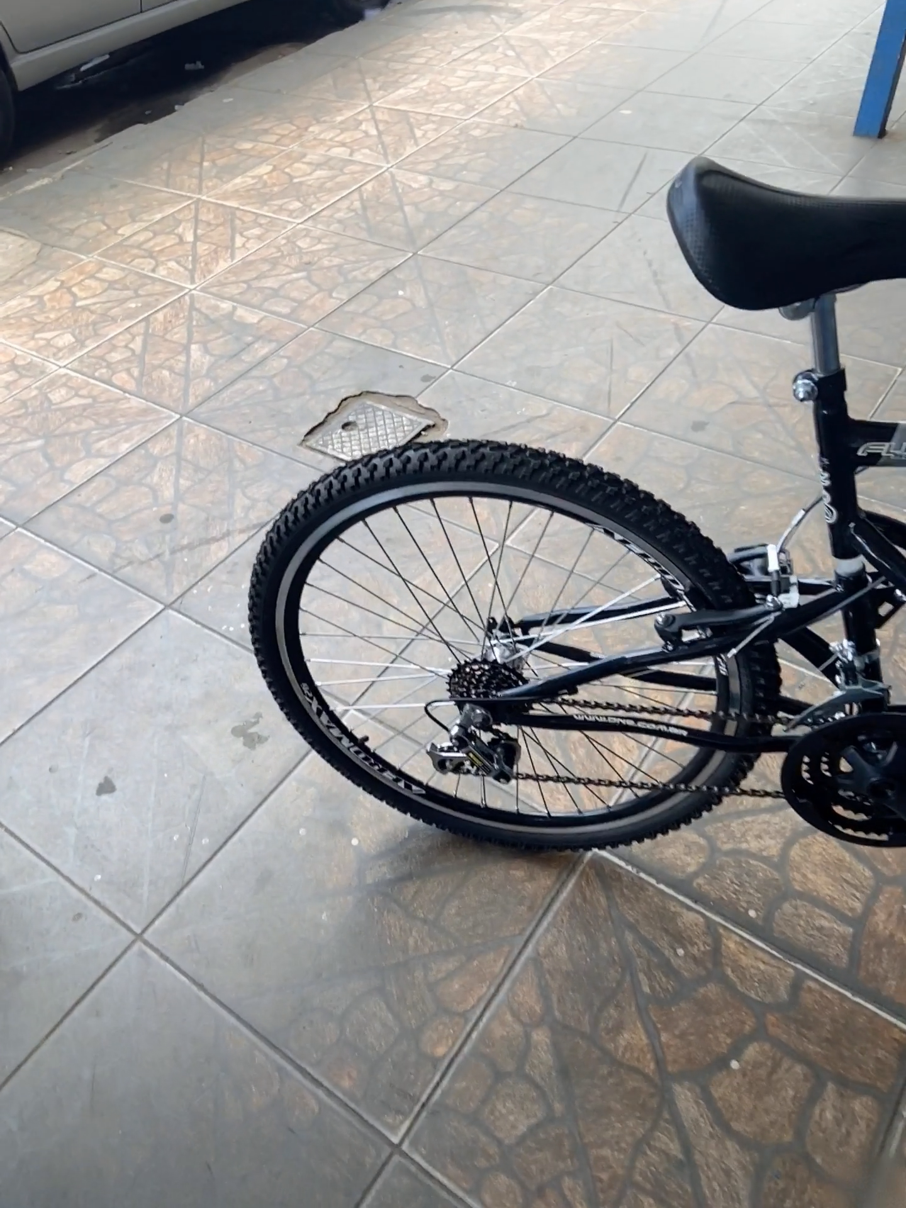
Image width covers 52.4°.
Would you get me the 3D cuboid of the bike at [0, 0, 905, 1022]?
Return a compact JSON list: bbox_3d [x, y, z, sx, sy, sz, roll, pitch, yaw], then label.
[{"bbox_3d":[0.488,-0.129,0.889,1.584,1.154,0.606,-2,47,9],"label":"bike"}]
